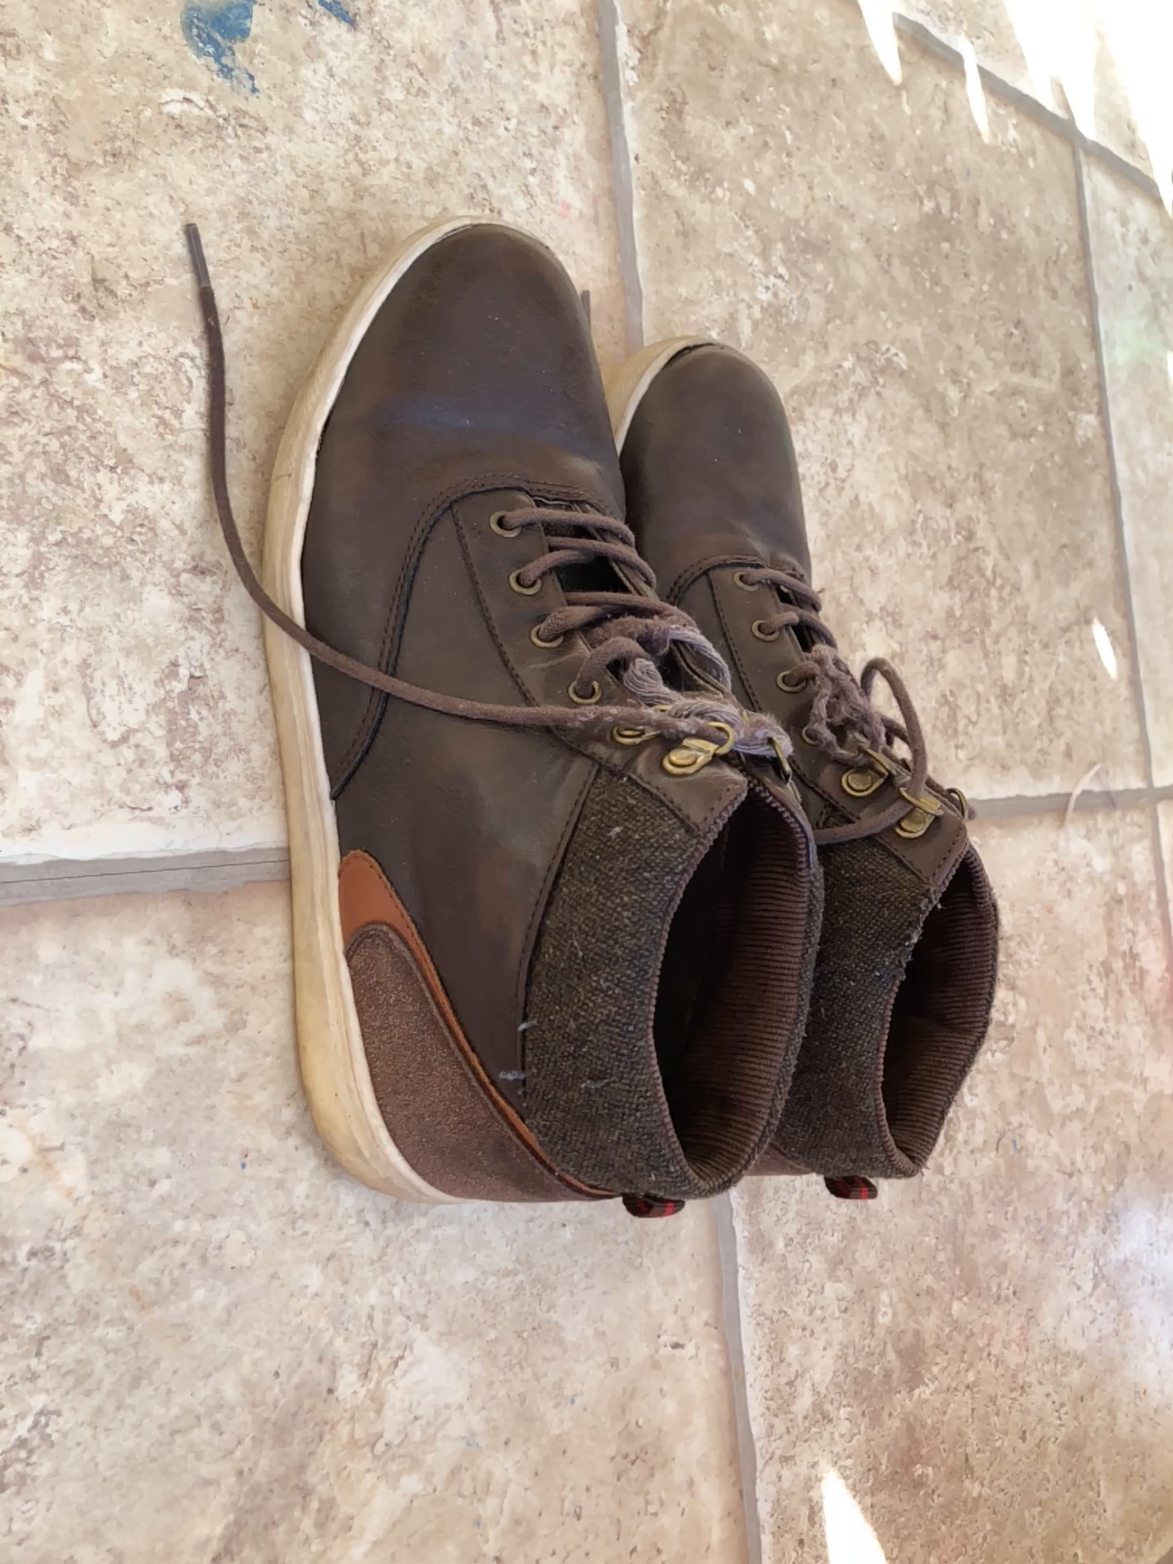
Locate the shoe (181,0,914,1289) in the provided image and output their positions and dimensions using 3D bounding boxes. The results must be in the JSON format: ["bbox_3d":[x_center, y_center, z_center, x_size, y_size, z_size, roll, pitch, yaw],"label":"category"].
[{"bbox_3d":[-0.020,-0.047,0.343,0.111,0.149,0.300,4,81,-42],"label":"shoe"}]

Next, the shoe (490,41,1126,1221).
[{"bbox_3d":[0.061,-0.034,0.413,0.110,0.149,0.300,6,79,-42],"label":"shoe"}]
